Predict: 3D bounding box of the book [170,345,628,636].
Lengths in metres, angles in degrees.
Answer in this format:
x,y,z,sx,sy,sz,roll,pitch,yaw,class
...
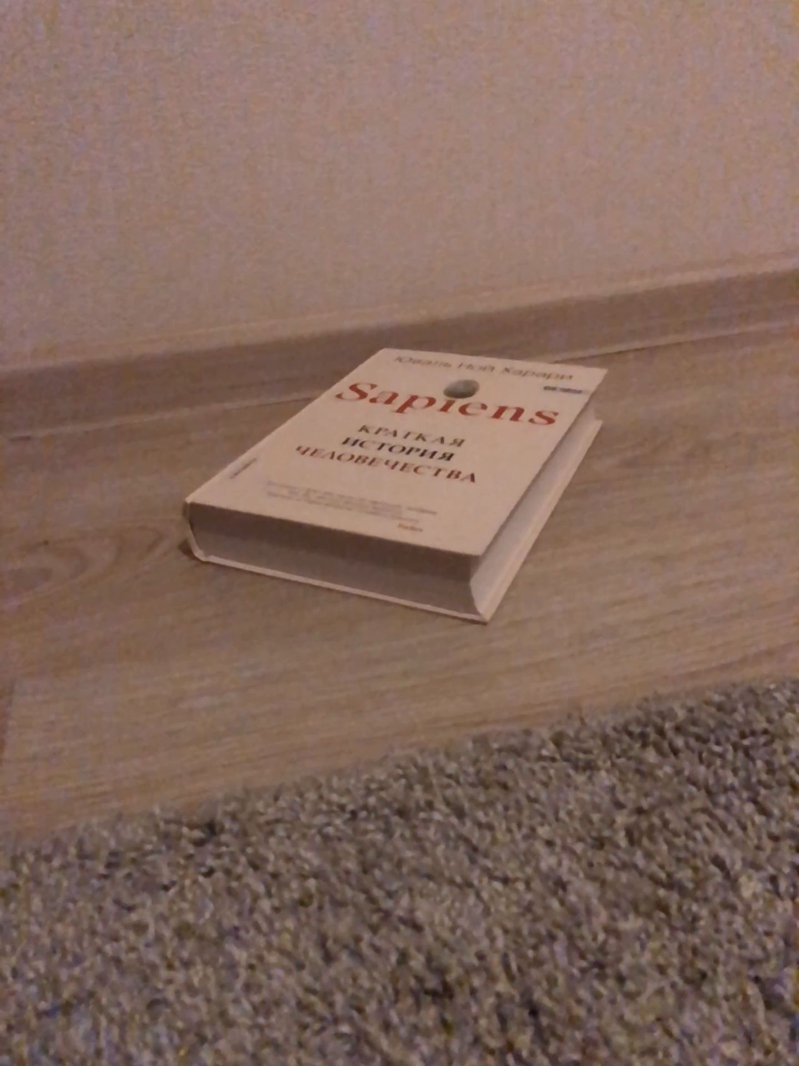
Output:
x,y,z,sx,sy,sz,roll,pitch,yaw,class
0.018,-0.047,0.536,0.187,0.040,0.259,10,33,22,book
